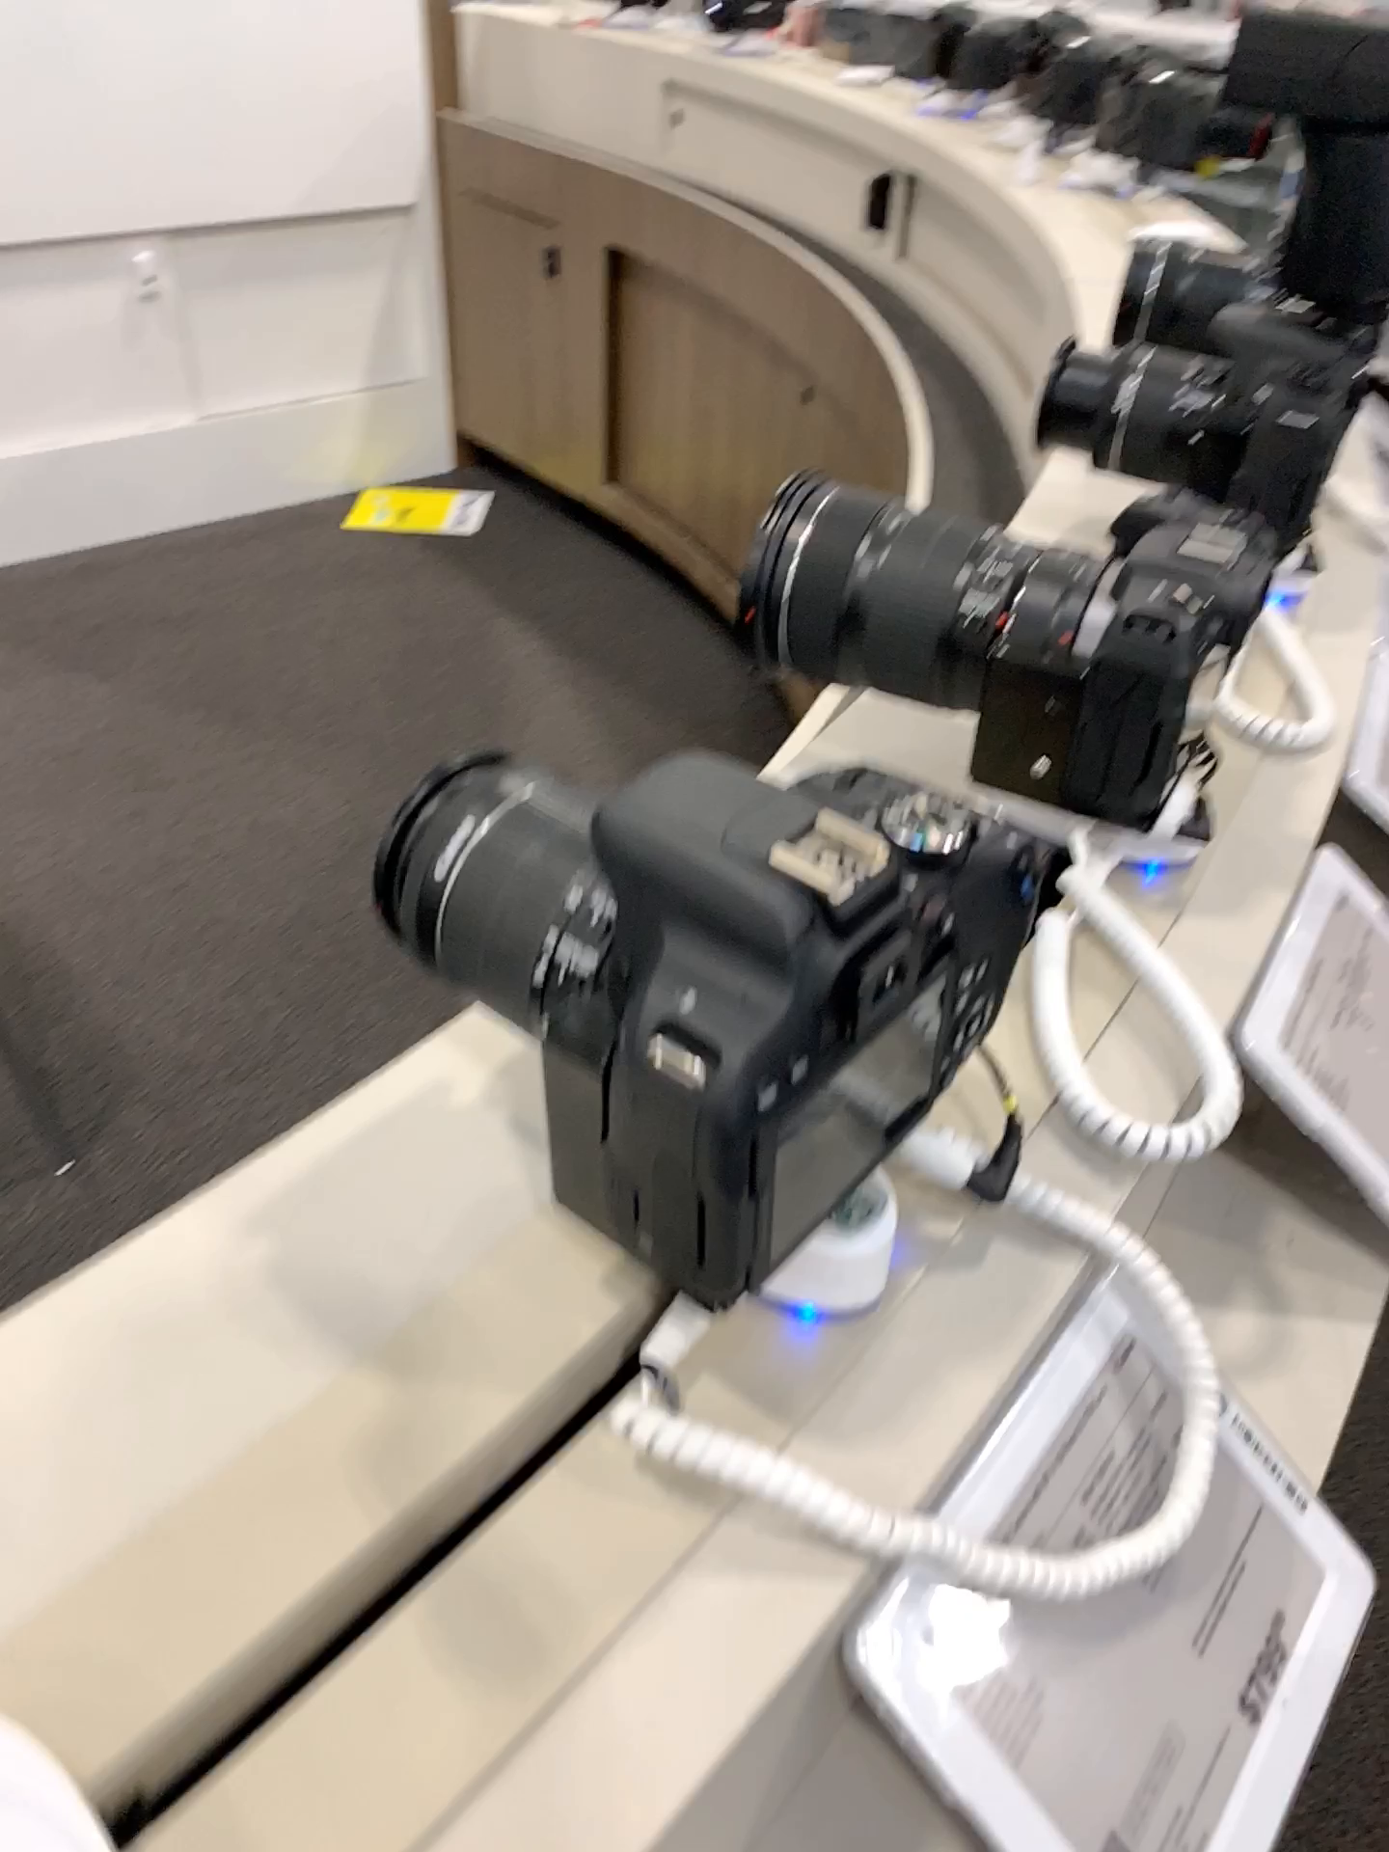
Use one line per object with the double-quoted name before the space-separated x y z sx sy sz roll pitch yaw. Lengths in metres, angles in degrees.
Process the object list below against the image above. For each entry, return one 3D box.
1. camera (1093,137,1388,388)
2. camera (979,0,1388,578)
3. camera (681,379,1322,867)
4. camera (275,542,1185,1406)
"camera" 0.372 -0.429 0.912 0.190 0.099 0.141 15 39 16
"camera" 0.264 -0.322 0.709 0.170 0.219 0.151 19 40 20
"camera" 0.117 -0.129 0.562 0.200 0.099 0.141 19 41 21
"camera" 0.009 -0.003 0.390 0.171 0.119 0.150 27 44 28
